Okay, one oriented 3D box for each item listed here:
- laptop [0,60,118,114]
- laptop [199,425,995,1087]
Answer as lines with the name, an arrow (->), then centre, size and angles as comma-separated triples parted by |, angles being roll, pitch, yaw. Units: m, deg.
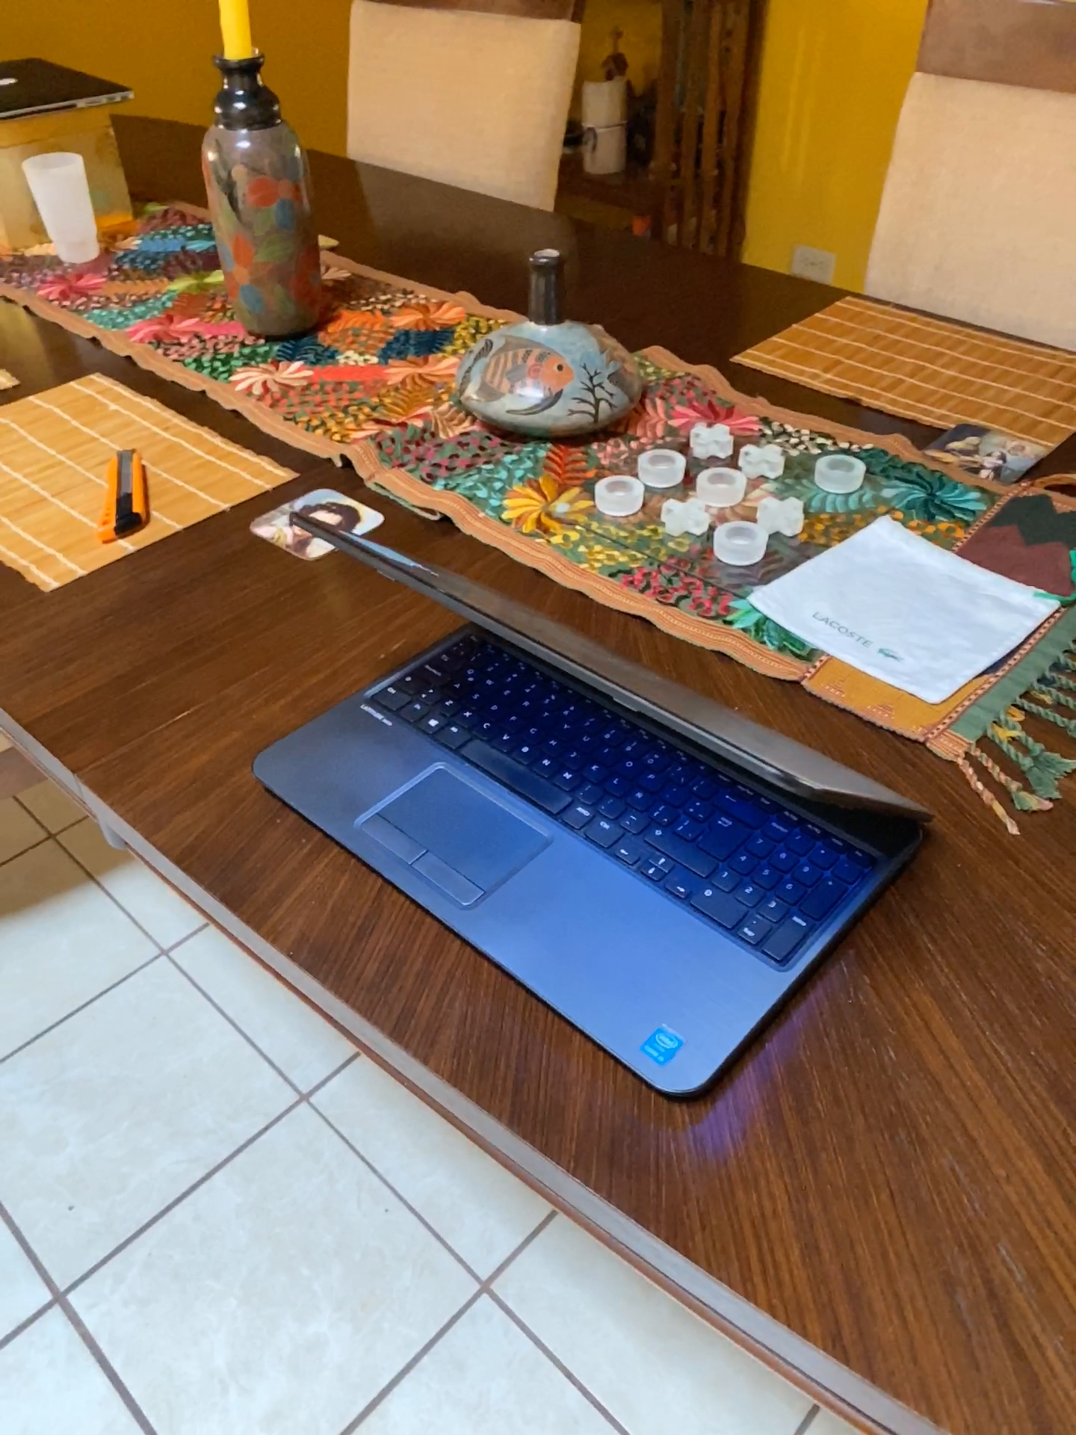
laptop -> -0.764, -0.910, 1.576 | 0.201, 0.001, 0.293 | -32, 51, -33
laptop -> 0.025, -0.010, 0.658 | 0.357, 0.158, 0.249 | 30, 49, 32
